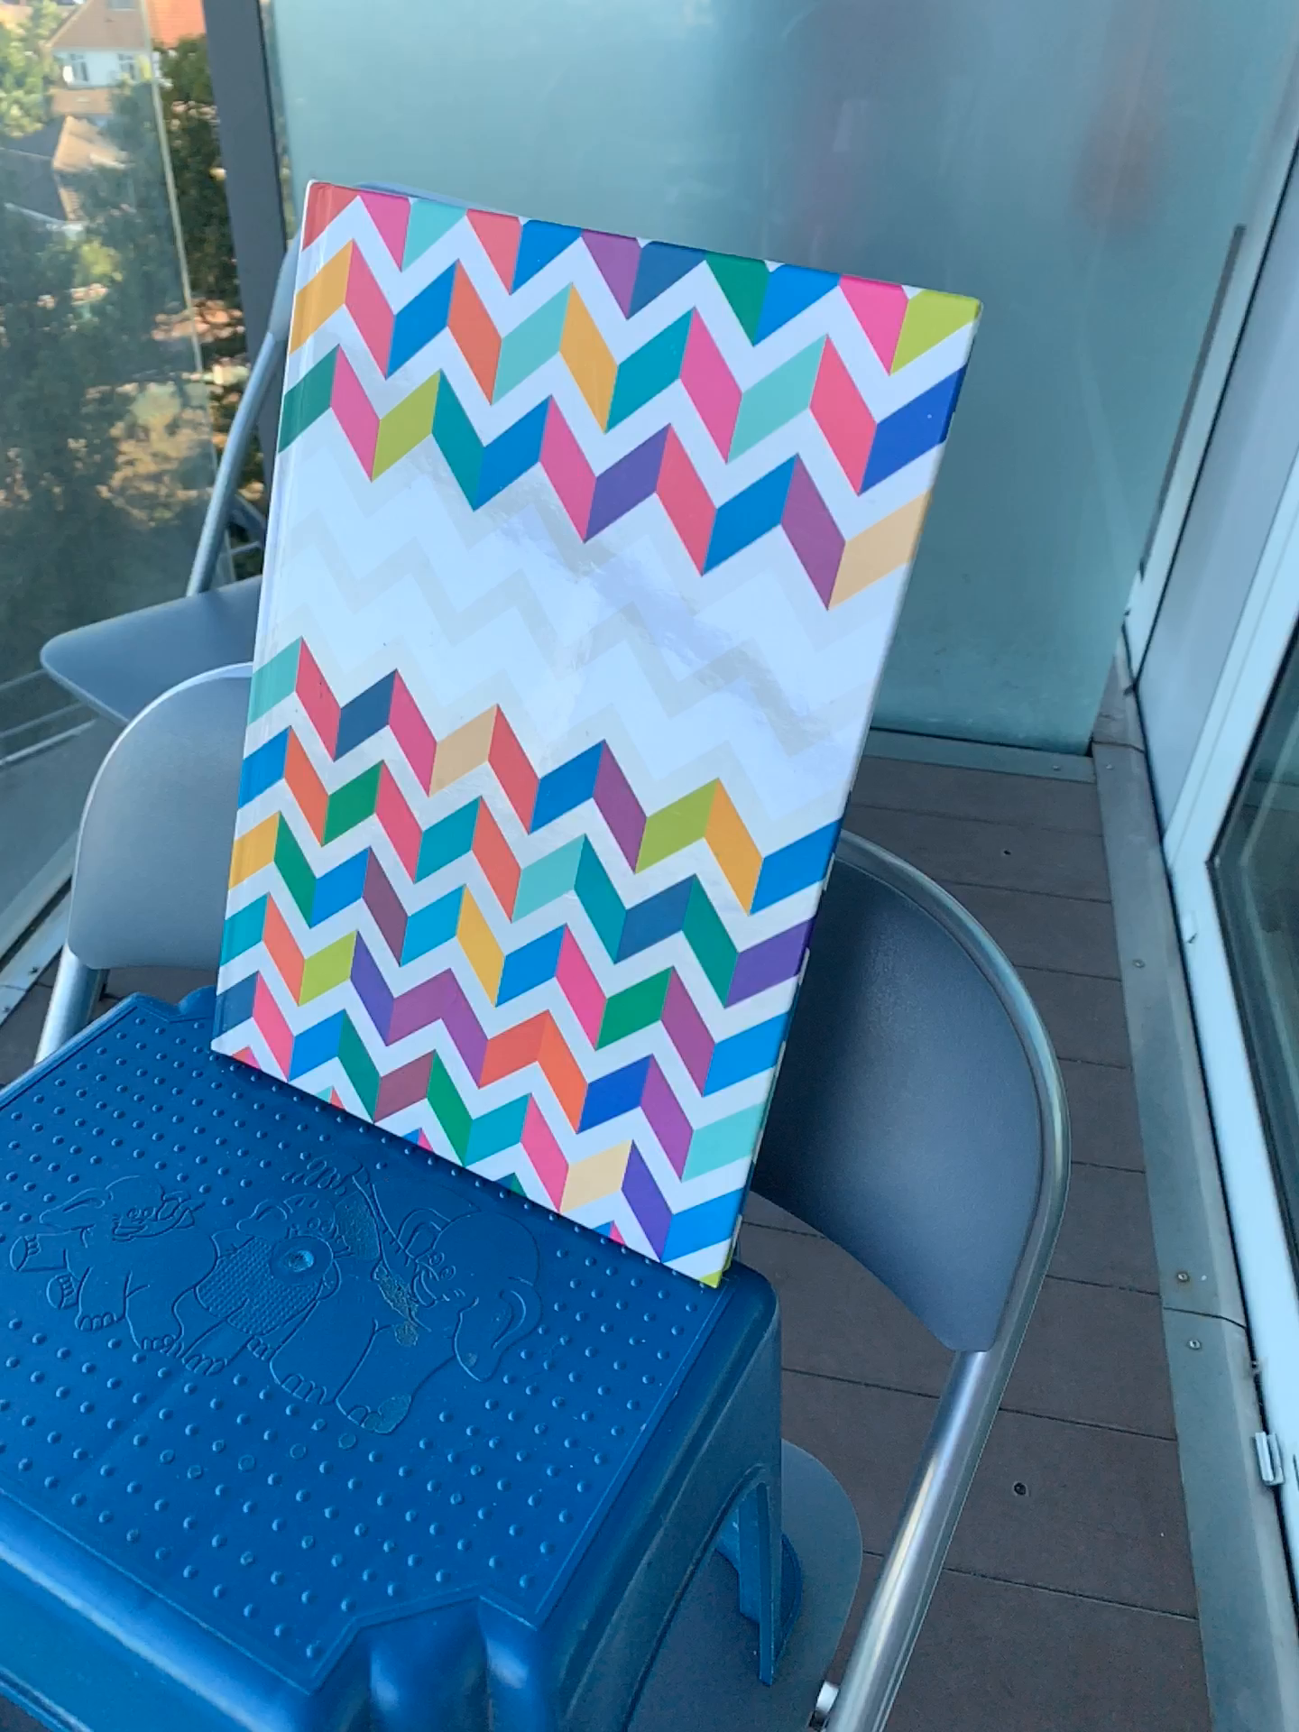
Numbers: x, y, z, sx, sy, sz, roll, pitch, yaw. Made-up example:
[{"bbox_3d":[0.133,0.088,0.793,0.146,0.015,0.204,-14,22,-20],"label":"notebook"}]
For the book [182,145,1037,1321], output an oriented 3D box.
[{"bbox_3d":[-0.034,-0.039,0.396,0.211,0.289,0.030,21,19,22],"label":"book"}]
